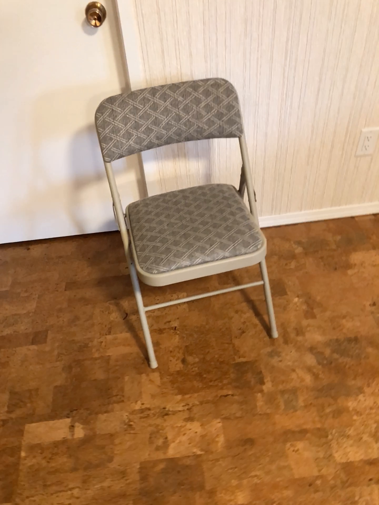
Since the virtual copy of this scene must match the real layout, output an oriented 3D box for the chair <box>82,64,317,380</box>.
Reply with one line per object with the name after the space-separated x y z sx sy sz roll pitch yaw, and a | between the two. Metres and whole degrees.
0.002 -0.087 1.350 0.490 0.758 0.562 -12 44 -7 | chair
